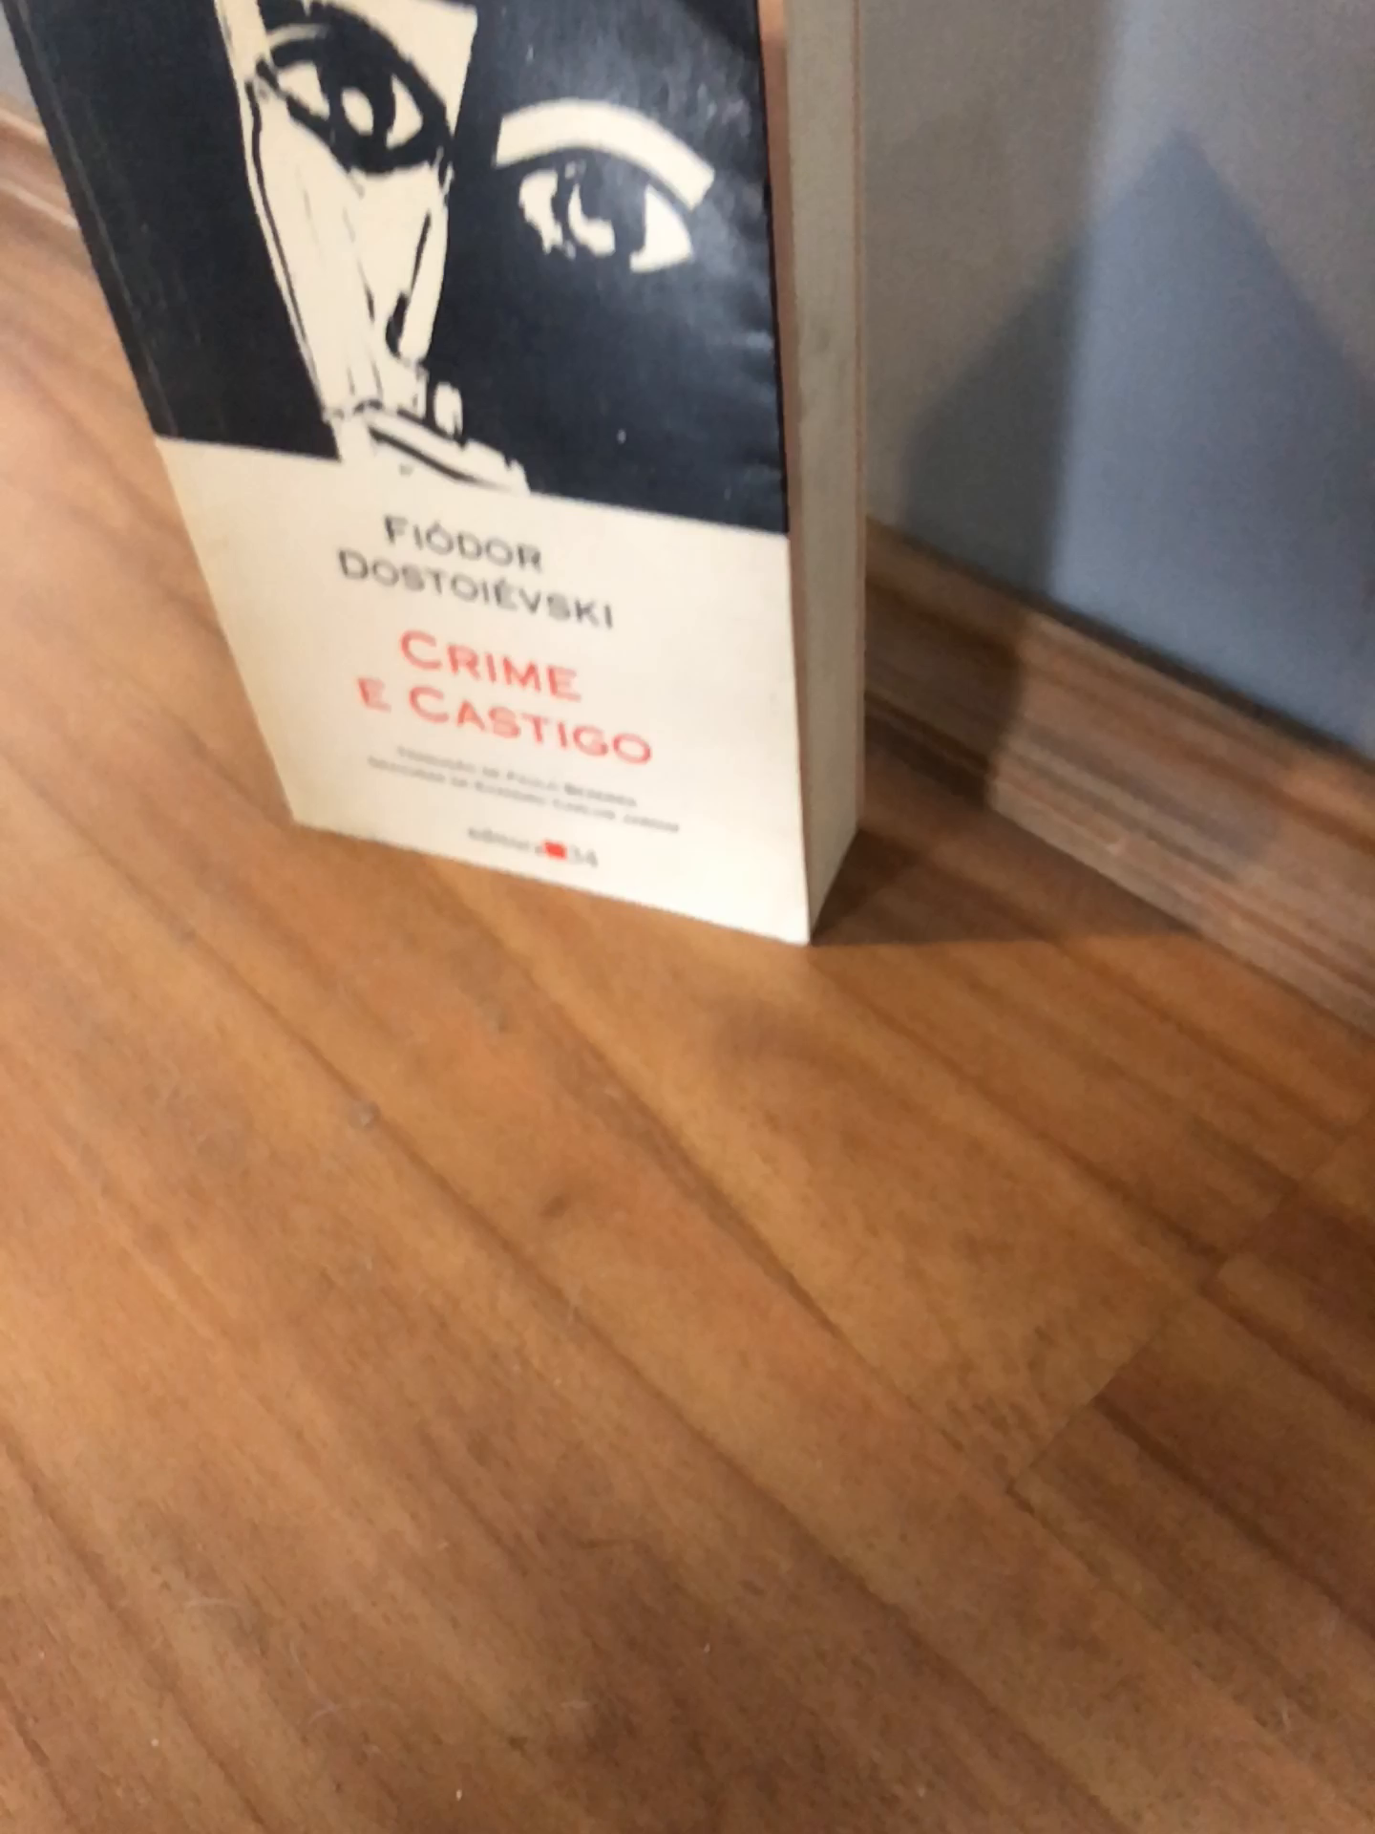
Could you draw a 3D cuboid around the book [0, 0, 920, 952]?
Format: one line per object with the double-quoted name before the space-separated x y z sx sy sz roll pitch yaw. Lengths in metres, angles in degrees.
"book" -0.040 -0.104 0.350 0.170 0.222 0.046 14 49 19
